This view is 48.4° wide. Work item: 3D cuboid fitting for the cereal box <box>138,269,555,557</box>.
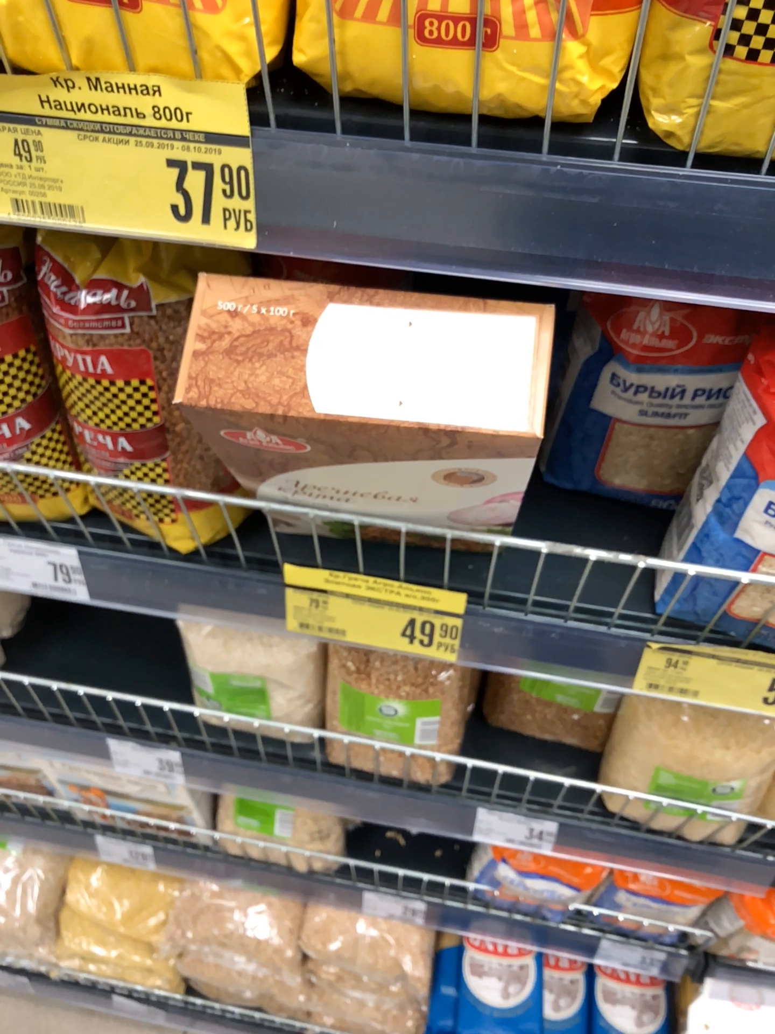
[{"bbox_3d":[-0.008,-0.034,0.396,0.140,0.199,0.050,6,76,5],"label":"cereal box"}]
